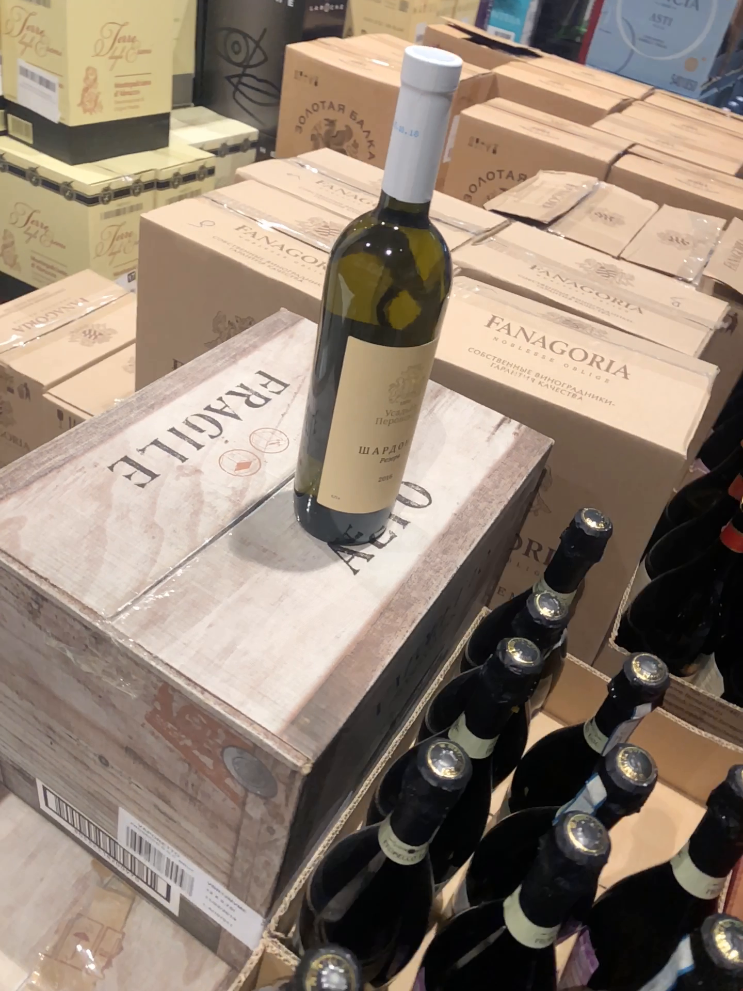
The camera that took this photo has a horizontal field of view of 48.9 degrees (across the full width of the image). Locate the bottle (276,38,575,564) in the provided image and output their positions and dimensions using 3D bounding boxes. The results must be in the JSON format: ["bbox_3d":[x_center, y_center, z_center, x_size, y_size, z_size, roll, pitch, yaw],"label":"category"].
[{"bbox_3d":[0.016,-0.102,0.502,0.090,0.298,0.080,-16,47,-31],"label":"bottle"}]
